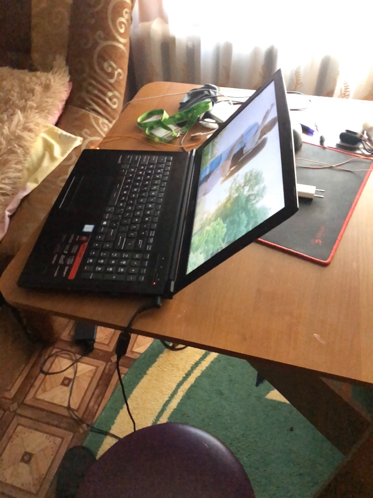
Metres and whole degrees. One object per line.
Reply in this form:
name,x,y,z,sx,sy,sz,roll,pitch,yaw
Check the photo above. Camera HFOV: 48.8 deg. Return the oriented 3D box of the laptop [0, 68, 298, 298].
laptop,-0.053,-0.133,0.688,0.409,0.174,0.375,3,47,6
